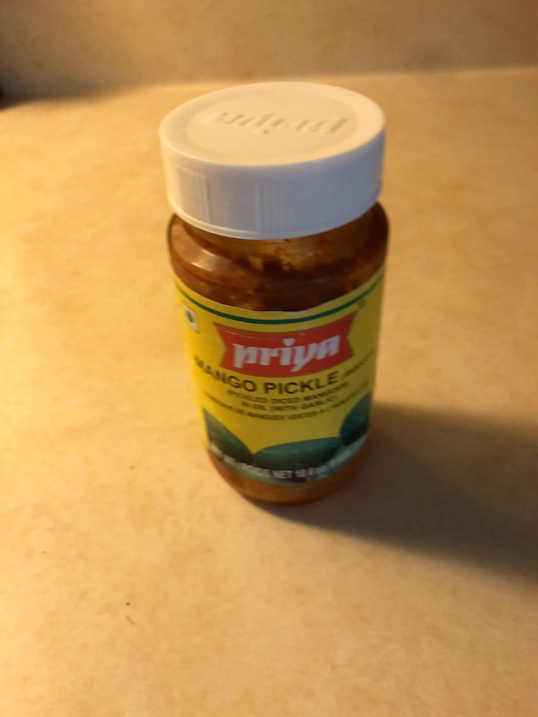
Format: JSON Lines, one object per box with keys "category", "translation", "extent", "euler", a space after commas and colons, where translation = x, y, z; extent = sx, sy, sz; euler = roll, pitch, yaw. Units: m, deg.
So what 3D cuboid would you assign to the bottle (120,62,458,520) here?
{"category": "bottle", "translation": [0.008, -0.014, 0.191], "extent": [0.070, 0.130, 0.060], "euler": [0, 41, 4]}
